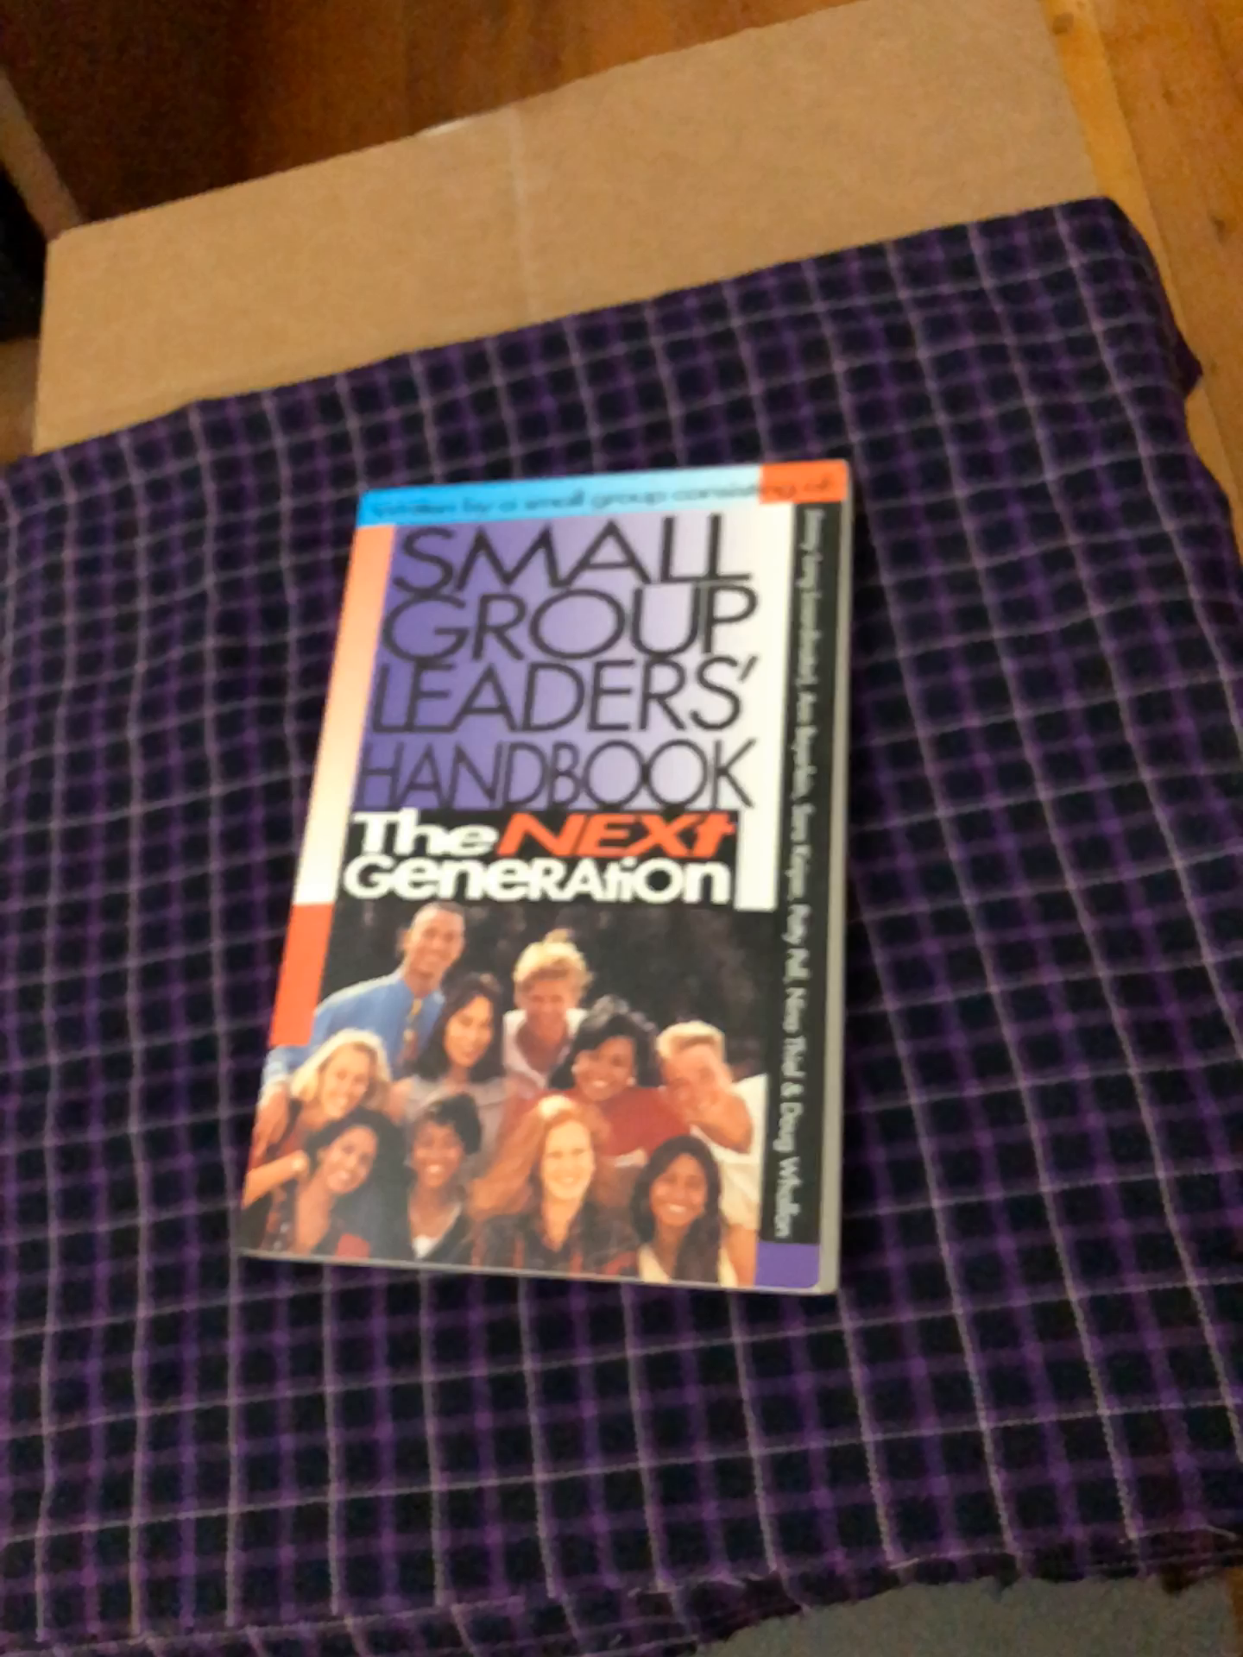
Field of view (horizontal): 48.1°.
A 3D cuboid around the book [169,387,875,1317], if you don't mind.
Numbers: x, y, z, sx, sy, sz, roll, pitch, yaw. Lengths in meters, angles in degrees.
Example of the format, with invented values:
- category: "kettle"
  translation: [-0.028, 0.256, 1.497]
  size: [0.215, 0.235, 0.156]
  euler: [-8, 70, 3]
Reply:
- category: "book"
  translation: [-0.016, -0.002, 0.343]
  size: [0.150, 0.030, 0.220]
  euler: [-1, 69, 13]
